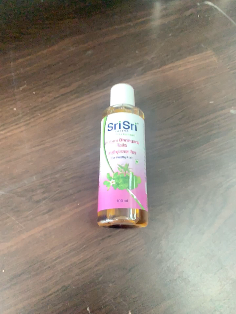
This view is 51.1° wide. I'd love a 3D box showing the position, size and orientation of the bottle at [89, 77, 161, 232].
[{"bbox_3d":[0.006,-0.004,0.215,0.050,0.040,0.130,1,67,0],"label":"bottle"}]
